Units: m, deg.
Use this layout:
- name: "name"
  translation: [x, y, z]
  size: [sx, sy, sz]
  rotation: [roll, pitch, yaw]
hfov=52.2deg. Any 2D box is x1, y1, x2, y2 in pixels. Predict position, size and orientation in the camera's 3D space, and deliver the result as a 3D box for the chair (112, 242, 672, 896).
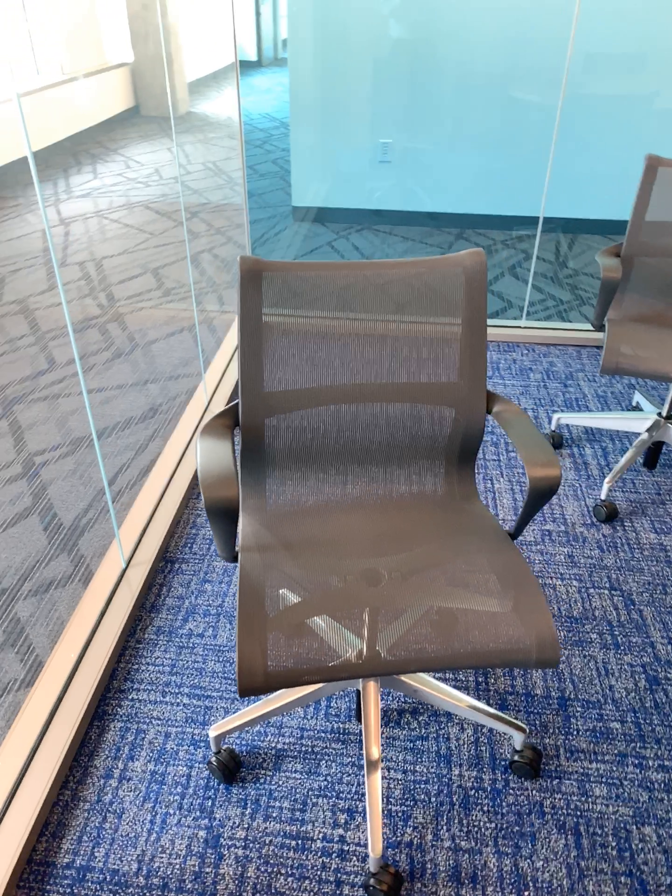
- name: "chair"
  translation: [0.097, 0.170, 1.072]
  size: [0.660, 0.773, 0.645]
  rotation: [-4, 32, -7]
